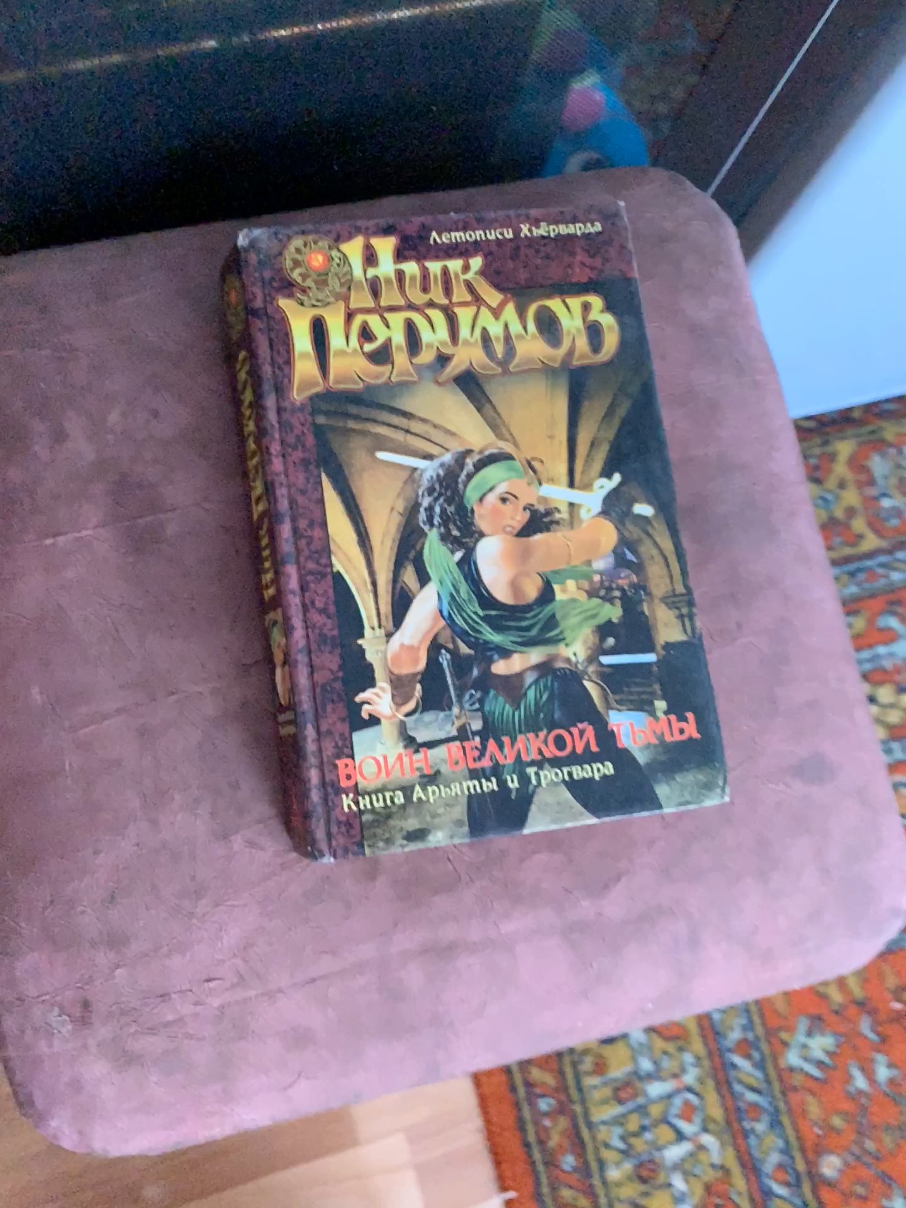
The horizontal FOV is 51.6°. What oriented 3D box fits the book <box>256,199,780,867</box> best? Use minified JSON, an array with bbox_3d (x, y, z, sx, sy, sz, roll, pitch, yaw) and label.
[{"bbox_3d":[0.017,-0.029,0.318,0.139,0.037,0.205,-7,81,-9],"label":"book"}]
